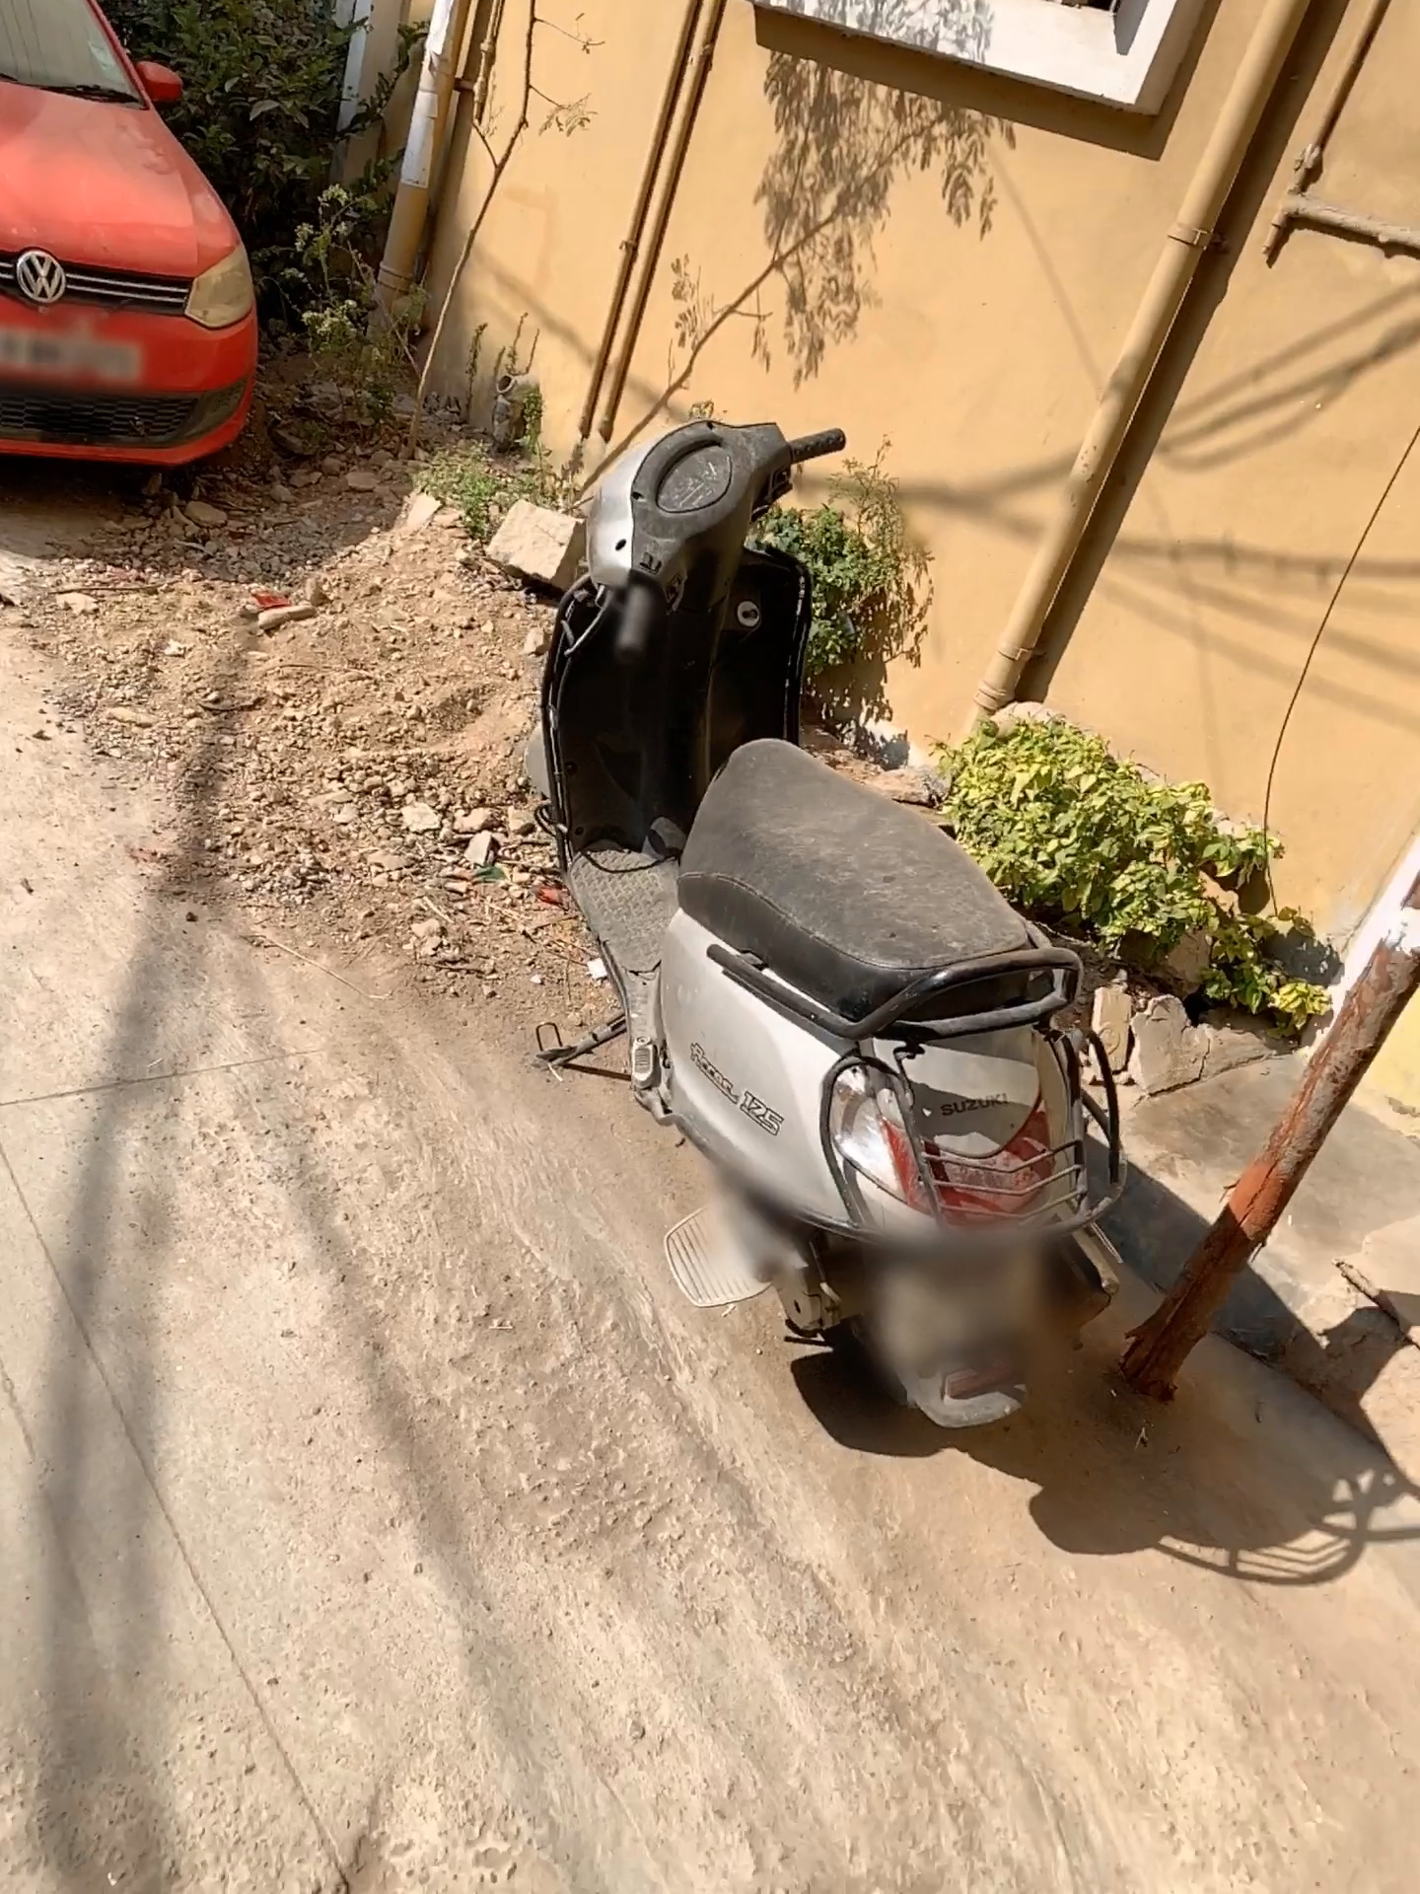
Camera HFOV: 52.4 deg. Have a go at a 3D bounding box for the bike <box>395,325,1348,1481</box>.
[{"bbox_3d":[0.017,-0.193,2.173,0.550,1.001,1.514,4,31,-26],"label":"bike"}]
